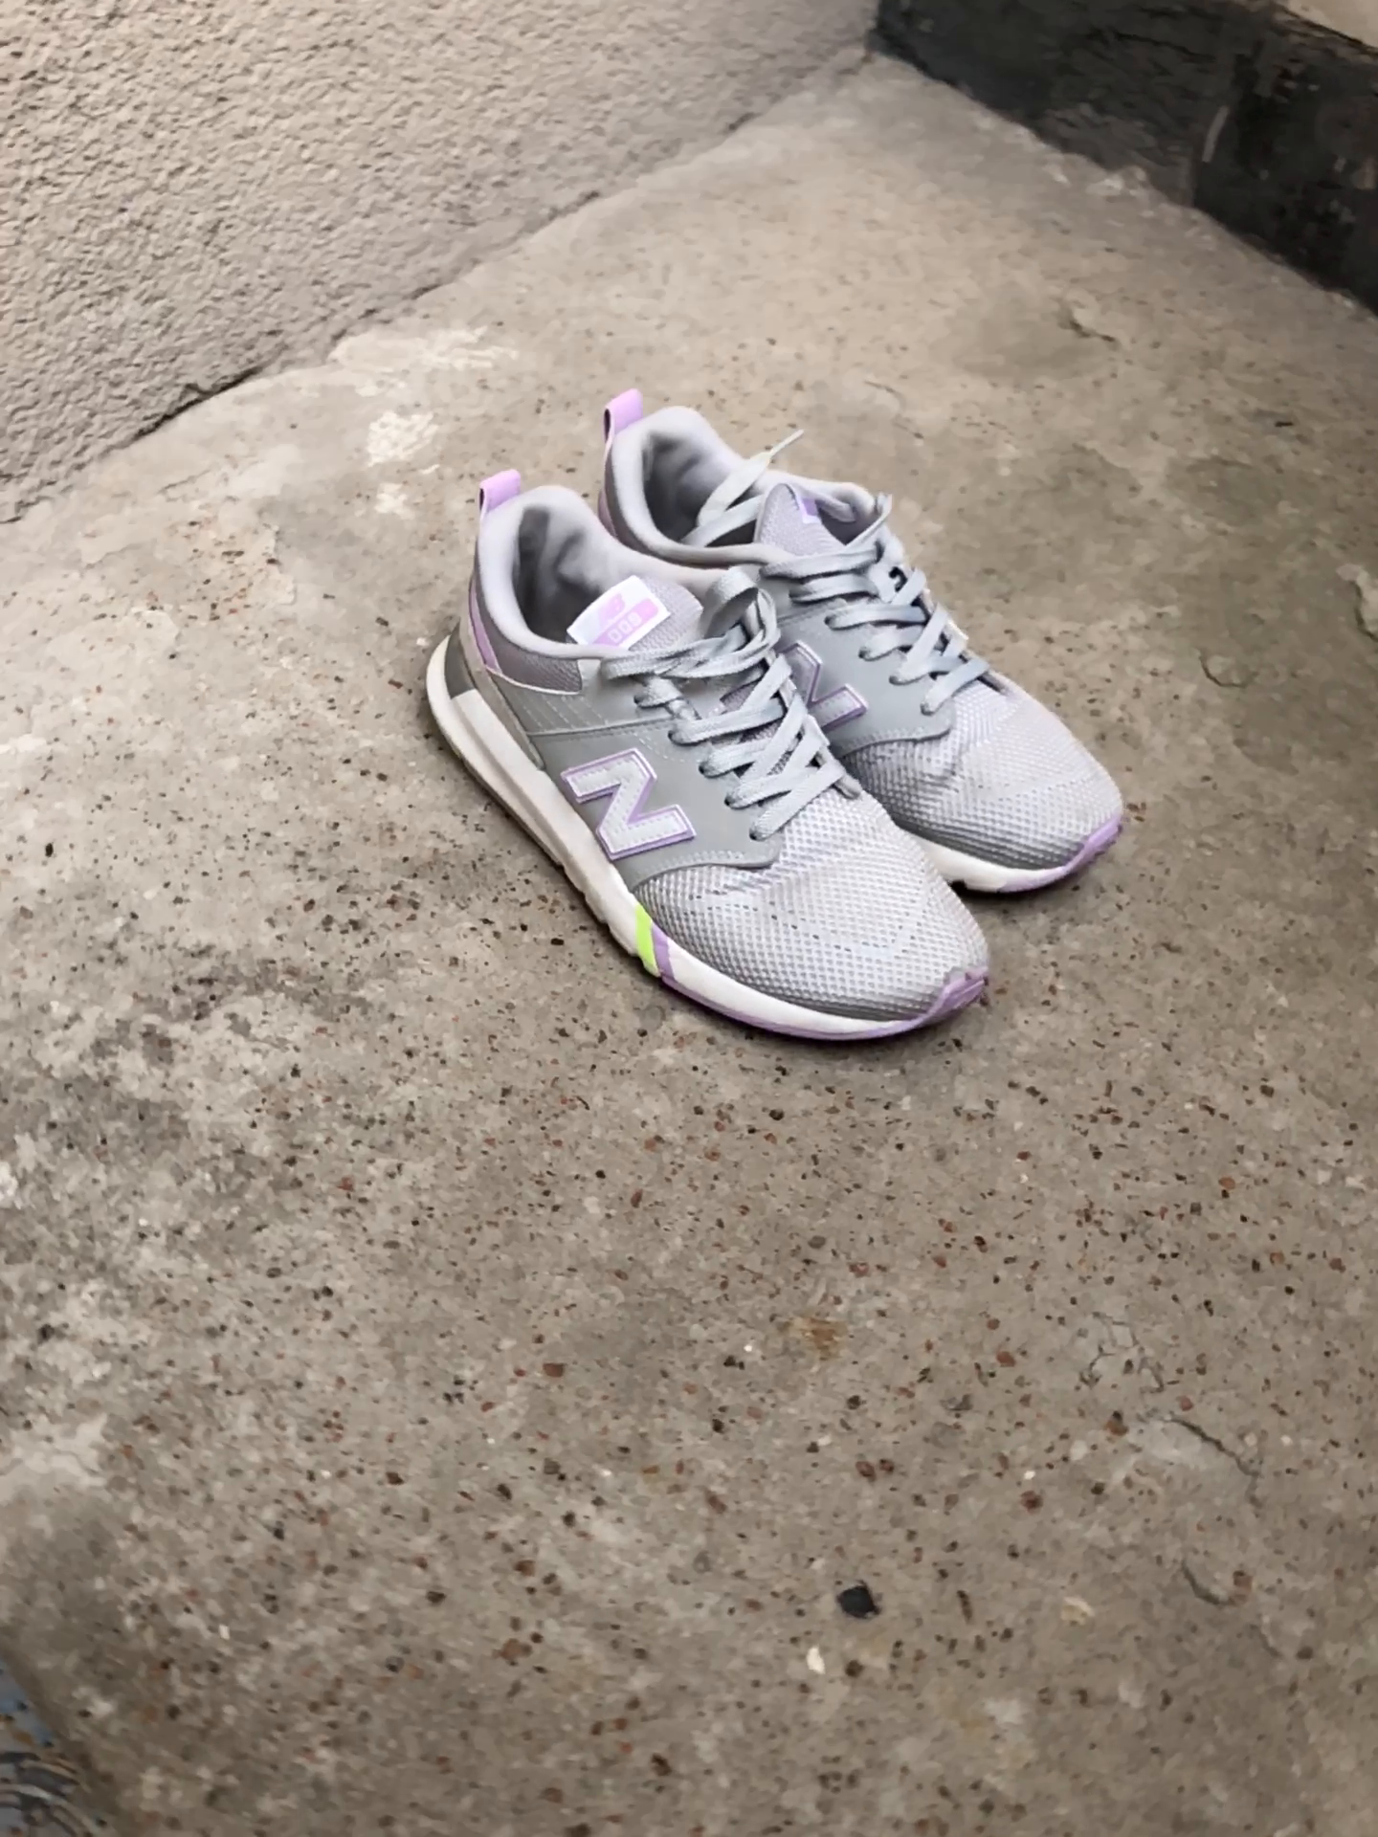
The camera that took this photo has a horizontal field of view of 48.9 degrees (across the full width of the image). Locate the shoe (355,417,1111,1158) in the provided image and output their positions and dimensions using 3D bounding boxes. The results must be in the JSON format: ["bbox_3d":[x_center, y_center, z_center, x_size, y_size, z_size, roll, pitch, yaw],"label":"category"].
[{"bbox_3d":[0.002,-0.060,0.559,0.110,0.099,0.271,-30,60,-29],"label":"shoe"}]

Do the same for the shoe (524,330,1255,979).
[{"bbox_3d":[0.065,-0.116,0.610,0.110,0.099,0.271,-34,61,-31],"label":"shoe"}]
